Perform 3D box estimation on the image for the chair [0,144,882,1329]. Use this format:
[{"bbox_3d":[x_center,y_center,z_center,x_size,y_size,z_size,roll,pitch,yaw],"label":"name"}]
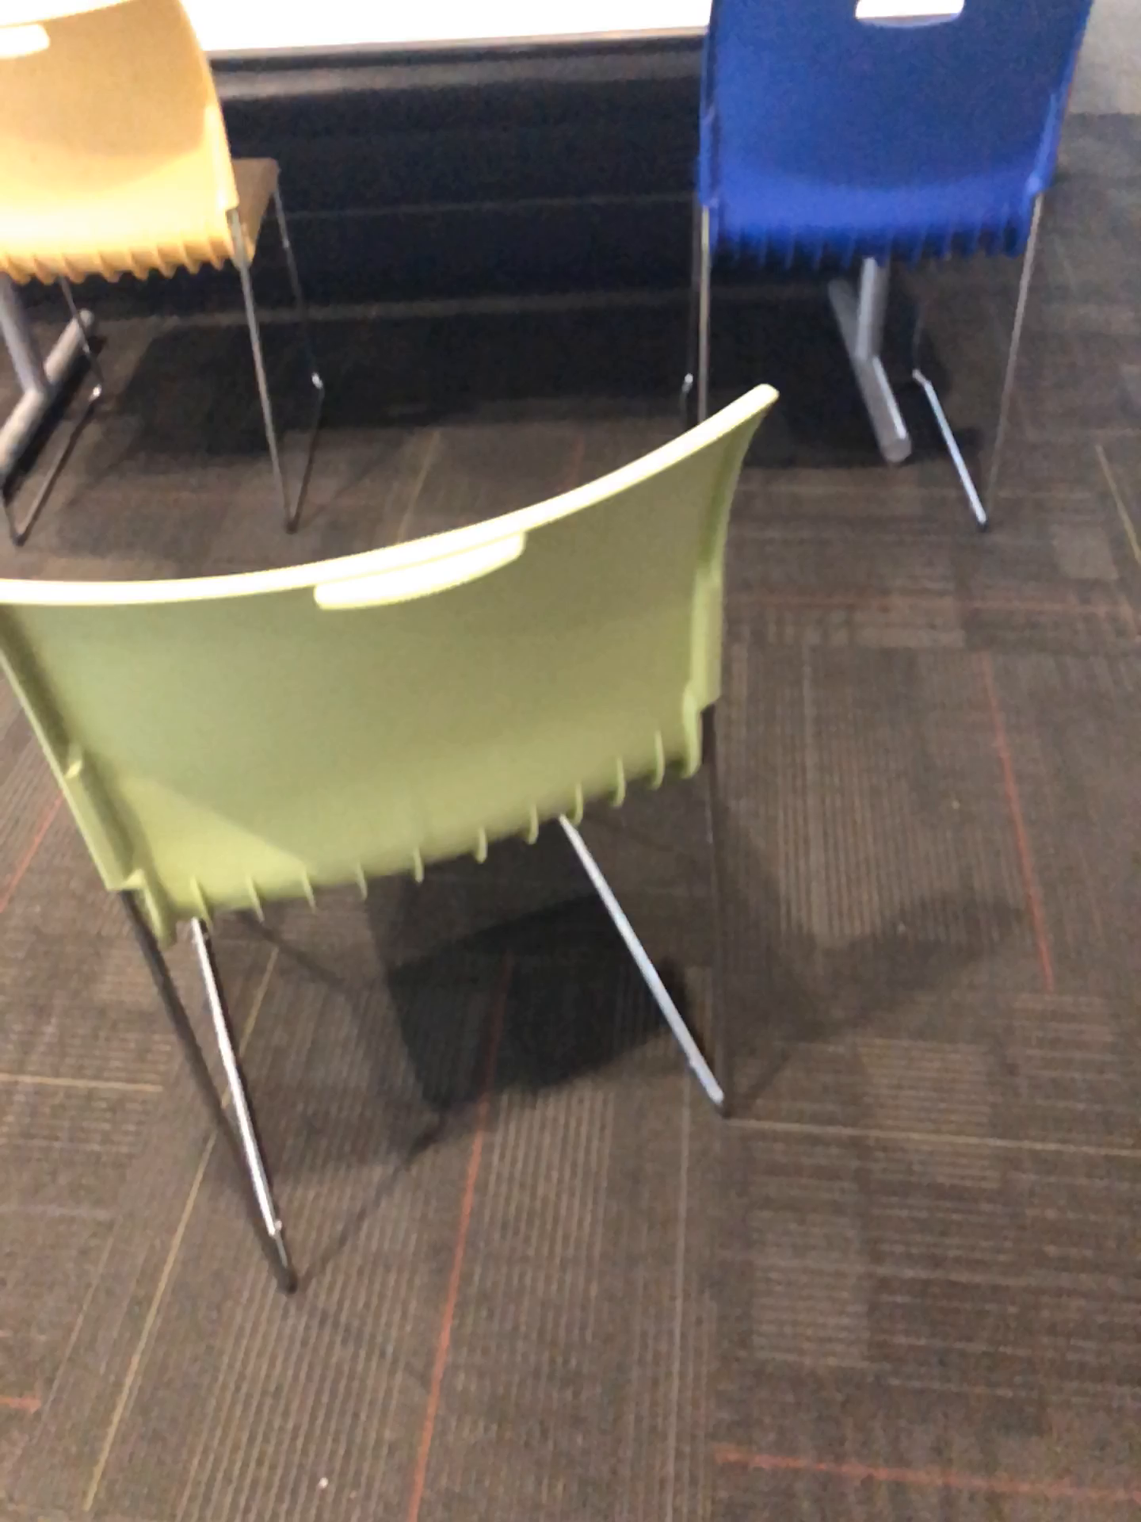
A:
[{"bbox_3d":[-0.155,-0.019,1.120,0.540,0.756,0.543,-17,45,-14],"label":"chair"}]
